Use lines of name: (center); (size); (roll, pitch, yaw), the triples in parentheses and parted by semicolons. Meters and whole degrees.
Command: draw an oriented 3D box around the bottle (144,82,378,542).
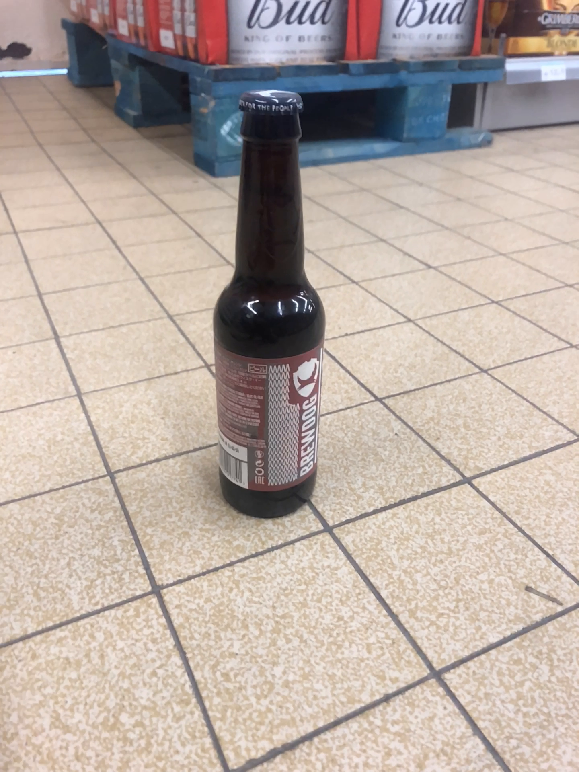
bottle: (-0.013, -0.033, 0.324); (0.070, 0.209, 0.070); (1, 31, 0)
